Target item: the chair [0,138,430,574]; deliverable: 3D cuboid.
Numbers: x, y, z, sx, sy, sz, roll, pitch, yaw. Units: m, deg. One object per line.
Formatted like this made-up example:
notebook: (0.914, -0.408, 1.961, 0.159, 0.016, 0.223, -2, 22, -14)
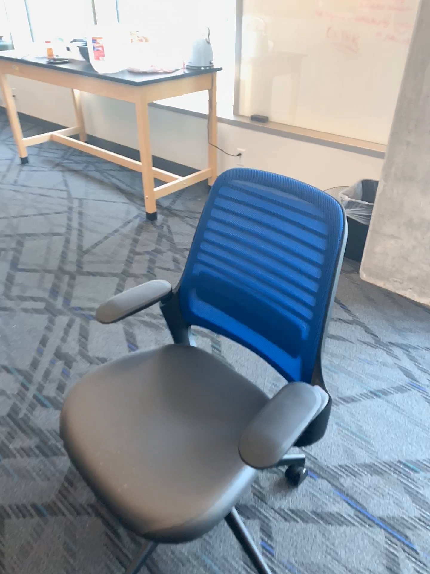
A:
chair: (-0.045, 0.244, 0.999, 0.703, 0.882, 0.683, 26, 42, 33)
